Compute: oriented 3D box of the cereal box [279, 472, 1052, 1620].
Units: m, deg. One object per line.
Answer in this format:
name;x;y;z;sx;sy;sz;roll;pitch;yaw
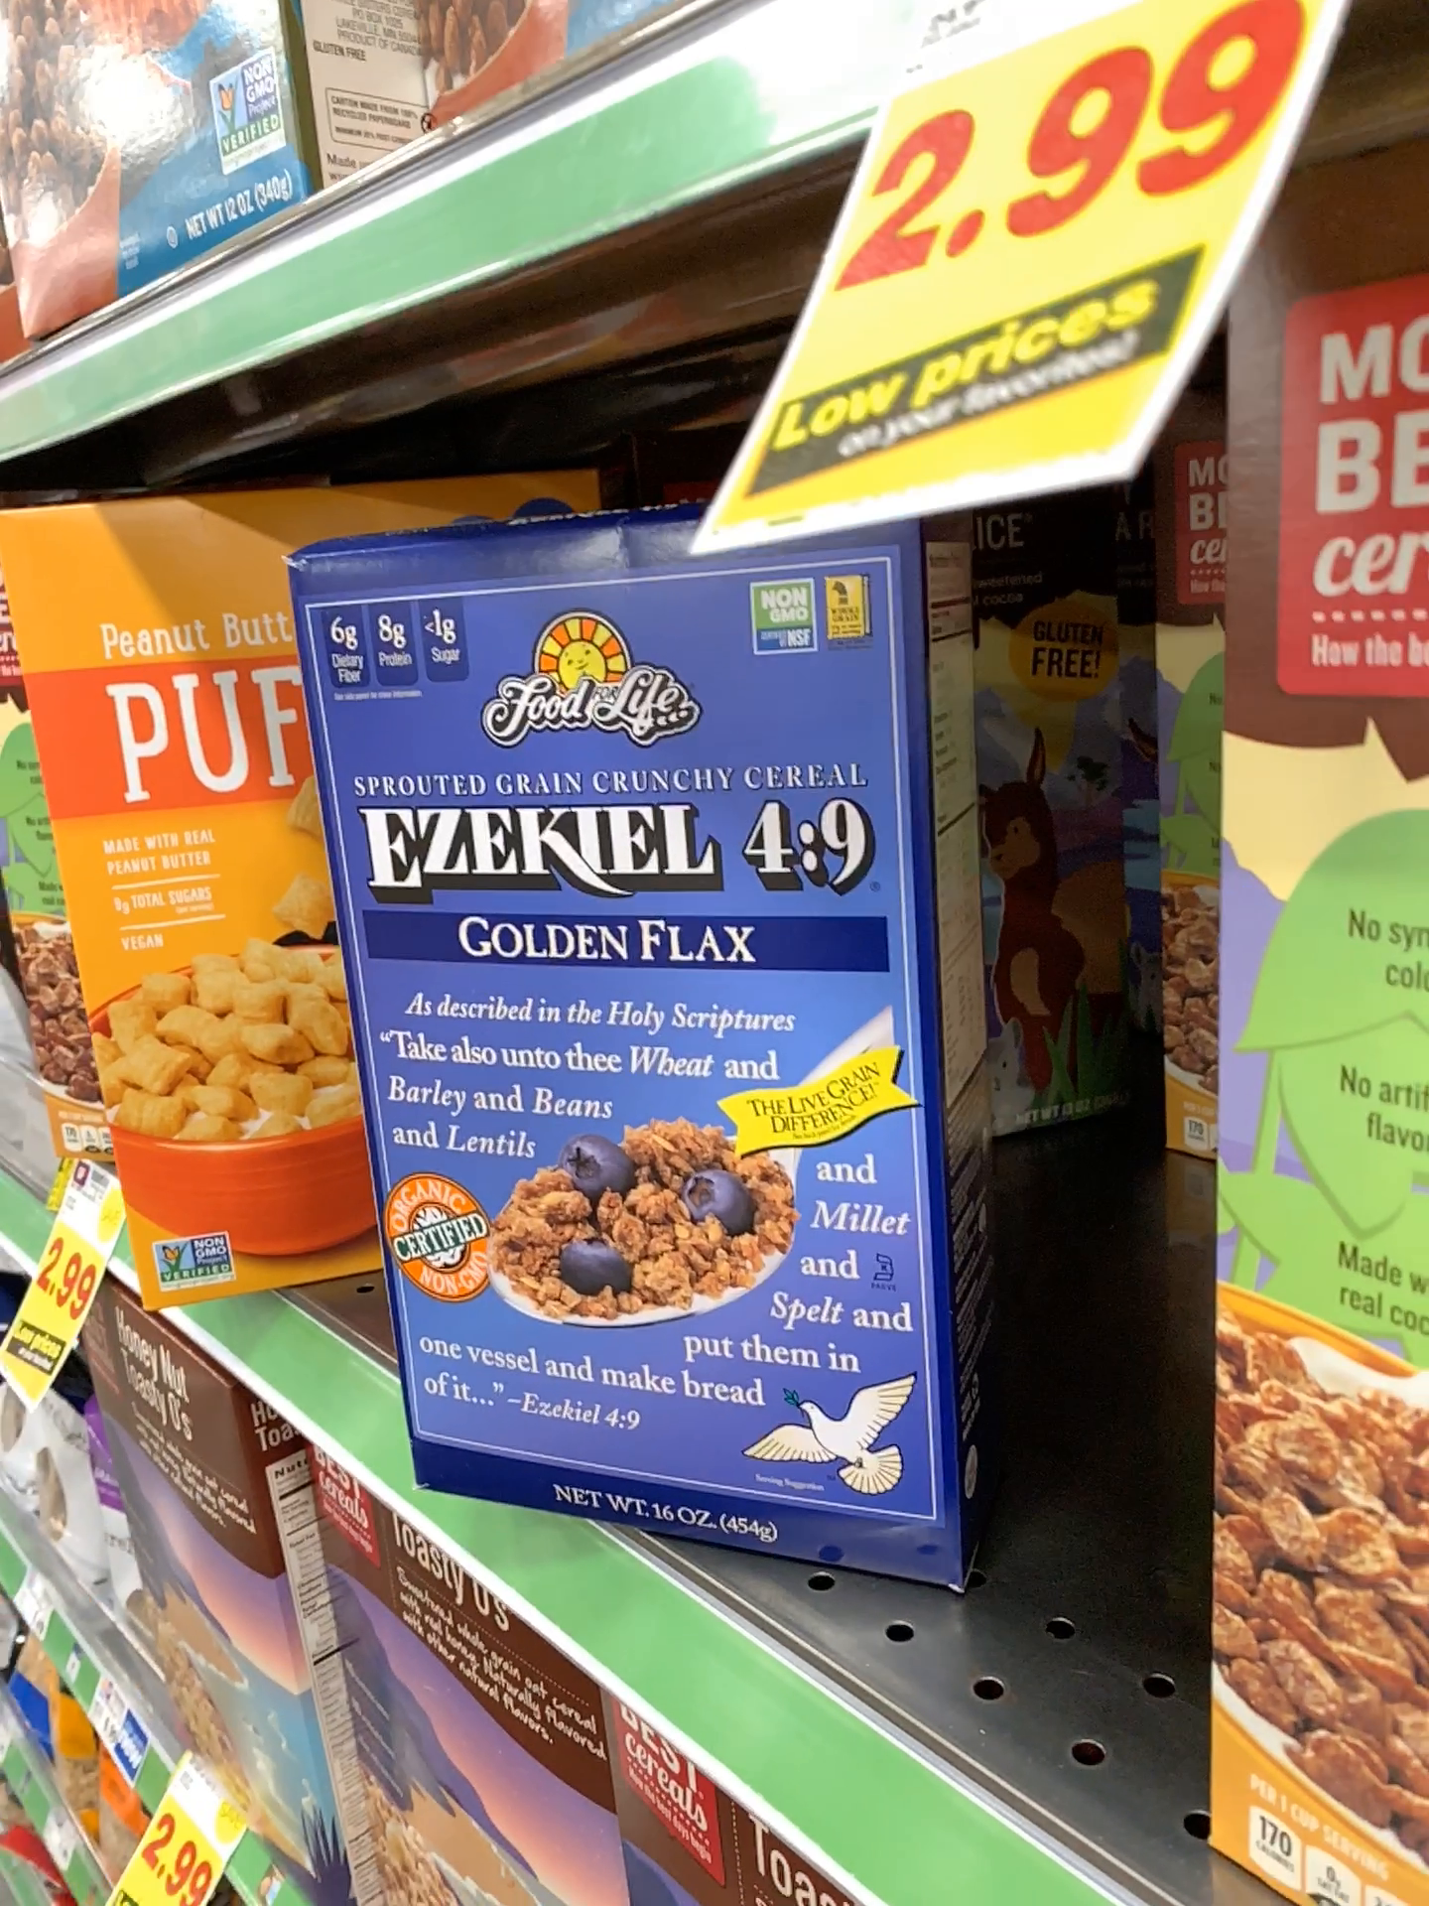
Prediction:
cereal box;-0.006;0.021;0.366;0.160;0.249;0.060;1;14;23
